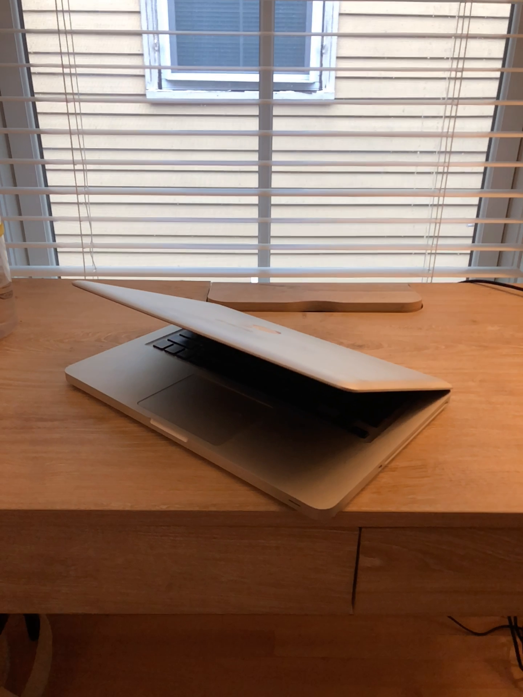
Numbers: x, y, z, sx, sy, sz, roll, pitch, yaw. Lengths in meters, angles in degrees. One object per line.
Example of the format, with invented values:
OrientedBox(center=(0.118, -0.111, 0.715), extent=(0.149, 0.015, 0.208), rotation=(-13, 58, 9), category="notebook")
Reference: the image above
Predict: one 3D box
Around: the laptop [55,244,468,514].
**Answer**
OrientedBox(center=(-0.005, -0.007, 0.555), extent=(0.319, 0.089, 0.229), rotation=(20, 31, 35), category="laptop")
